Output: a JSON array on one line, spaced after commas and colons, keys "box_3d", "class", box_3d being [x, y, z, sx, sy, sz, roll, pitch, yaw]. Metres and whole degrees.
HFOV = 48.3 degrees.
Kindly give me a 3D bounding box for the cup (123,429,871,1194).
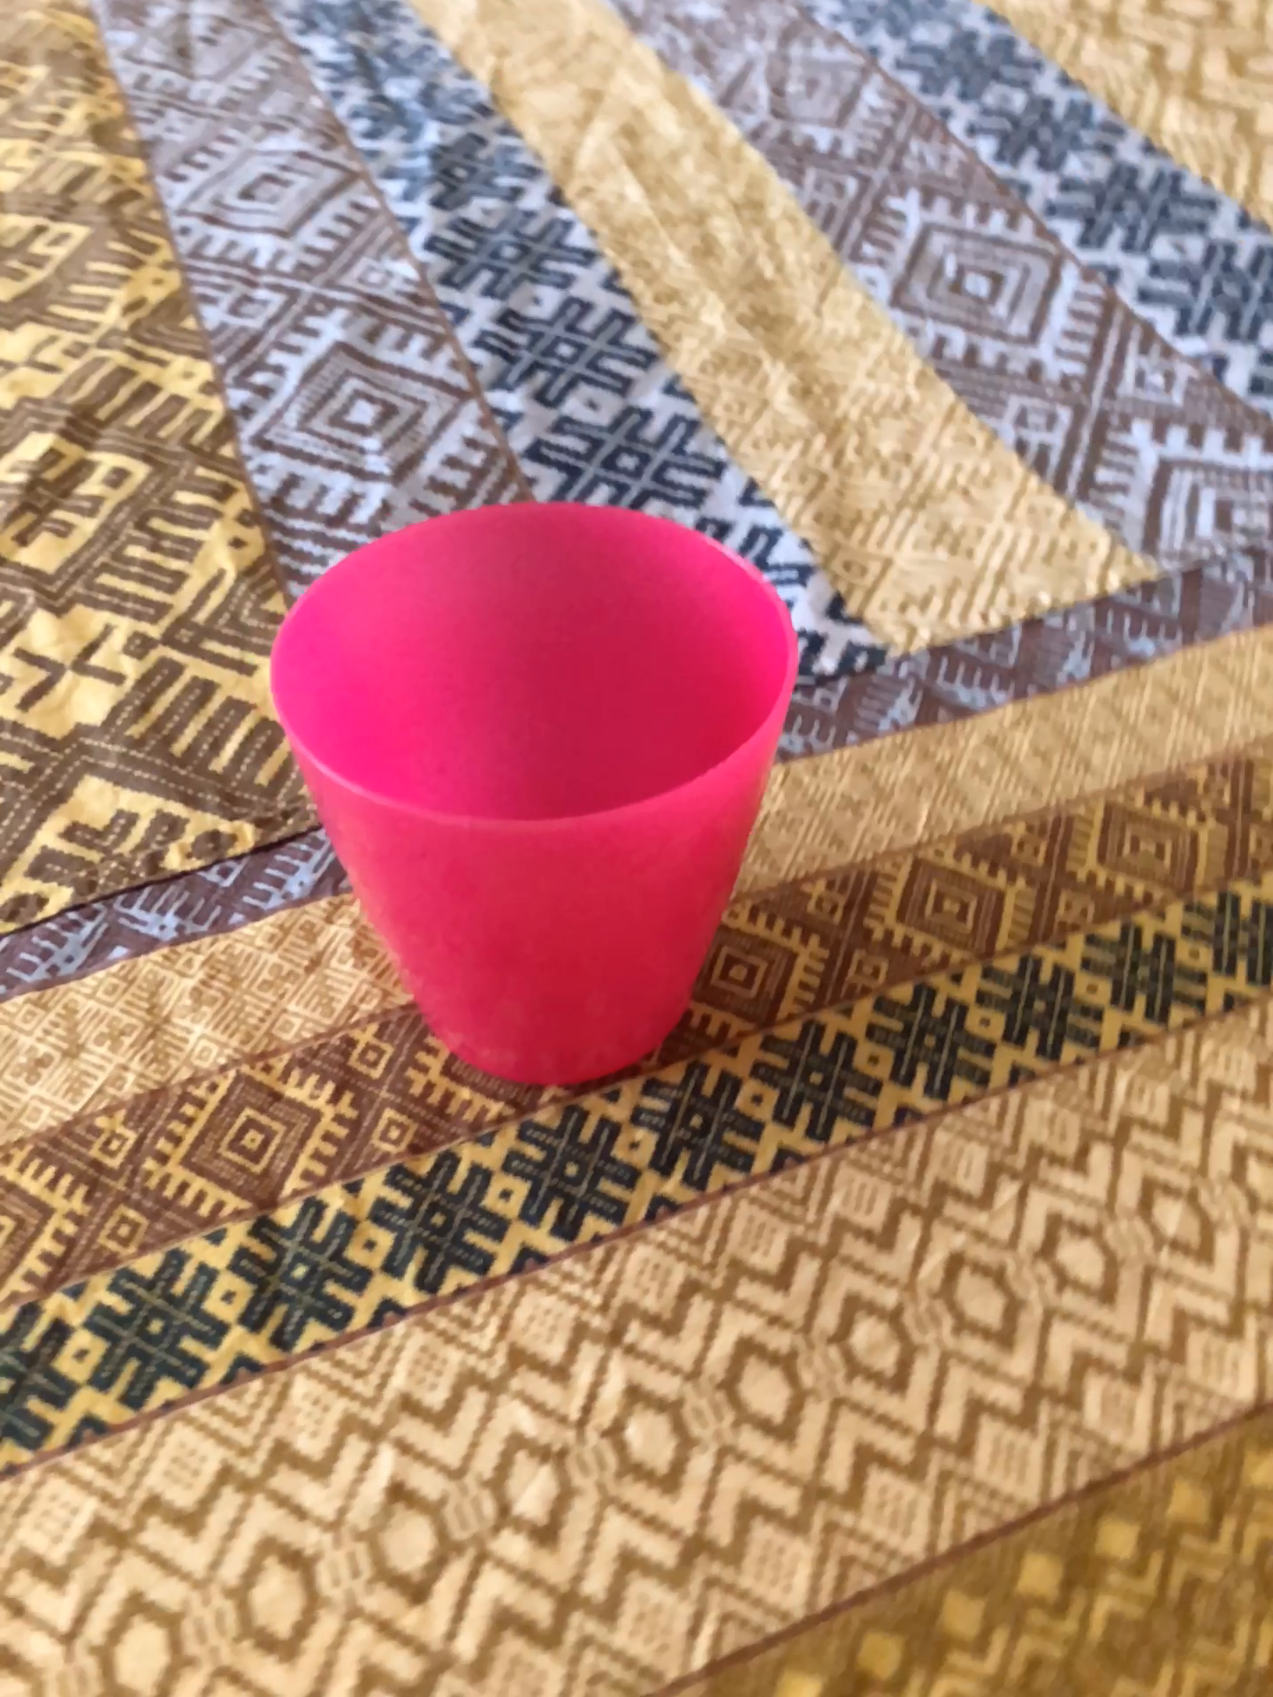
[{"box_3d": [-0.019, -0.009, 0.233, 0.078, 0.067, 0.079, 1, 49, -1], "class": "cup"}]
